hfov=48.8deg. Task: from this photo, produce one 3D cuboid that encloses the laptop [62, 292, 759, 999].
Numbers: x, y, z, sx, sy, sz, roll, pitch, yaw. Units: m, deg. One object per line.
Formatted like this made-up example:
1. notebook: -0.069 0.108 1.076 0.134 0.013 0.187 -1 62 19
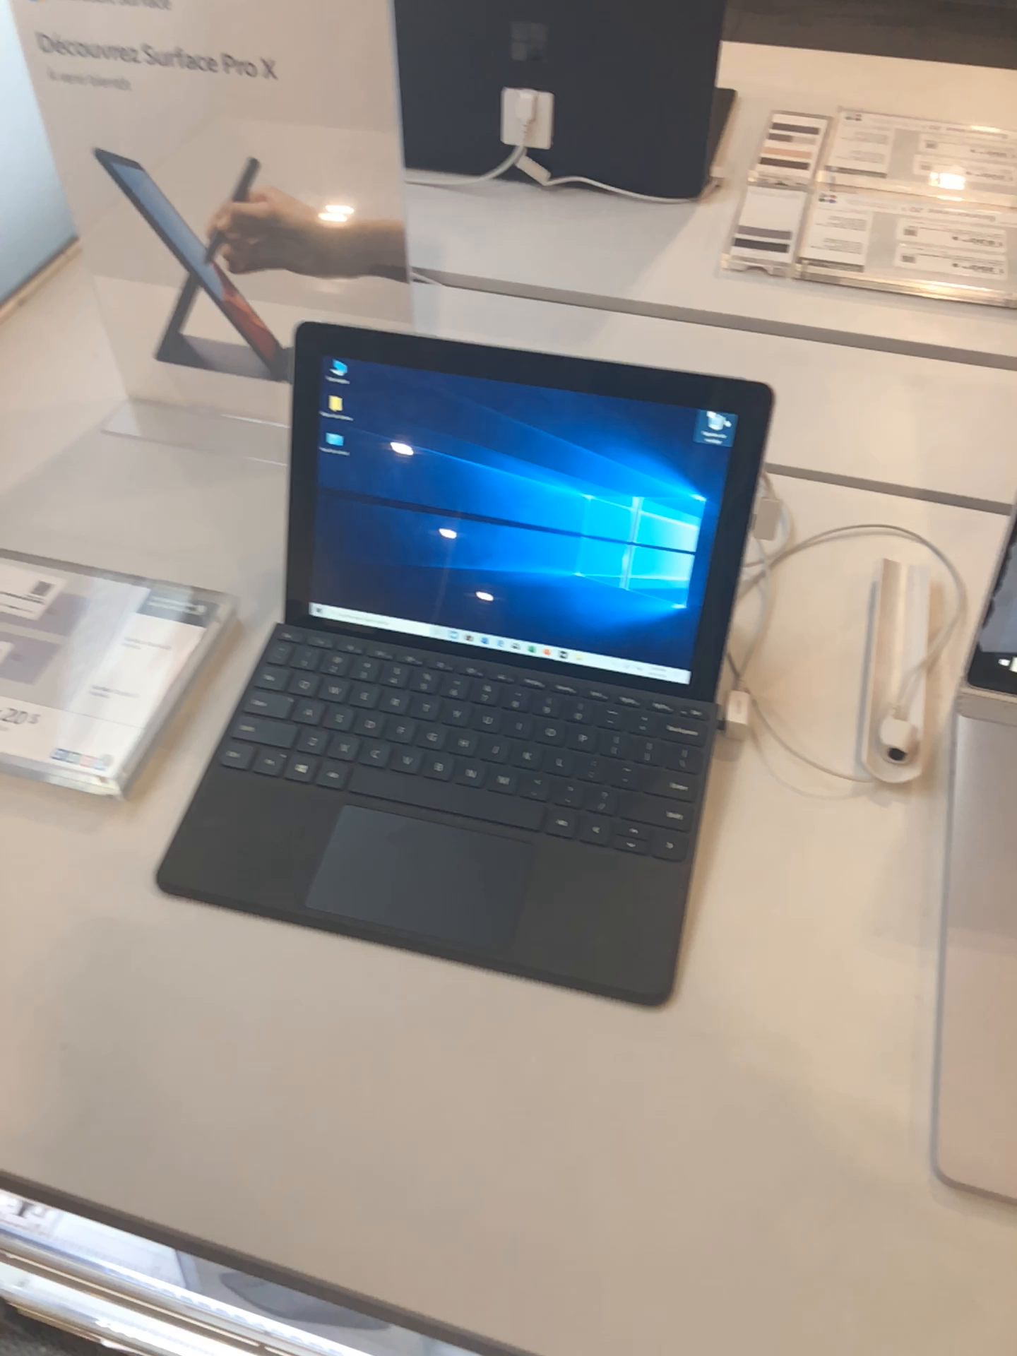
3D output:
1. laptop: -0.023 -0.027 0.524 0.236 0.140 0.251 10 53 8
